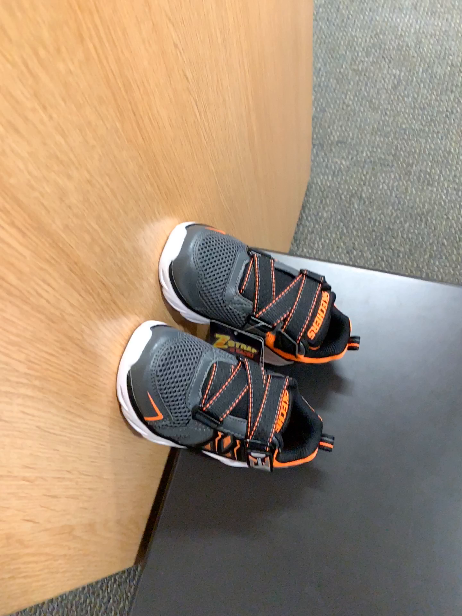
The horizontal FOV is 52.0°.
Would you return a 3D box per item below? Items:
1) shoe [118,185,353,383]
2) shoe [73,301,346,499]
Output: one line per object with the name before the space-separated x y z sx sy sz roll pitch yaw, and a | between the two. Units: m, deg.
shoe | 0.012 -0.011 0.430 0.100 0.180 0.090 1 64 46
shoe | -0.007 0.075 0.378 0.100 0.180 0.090 1 64 46
